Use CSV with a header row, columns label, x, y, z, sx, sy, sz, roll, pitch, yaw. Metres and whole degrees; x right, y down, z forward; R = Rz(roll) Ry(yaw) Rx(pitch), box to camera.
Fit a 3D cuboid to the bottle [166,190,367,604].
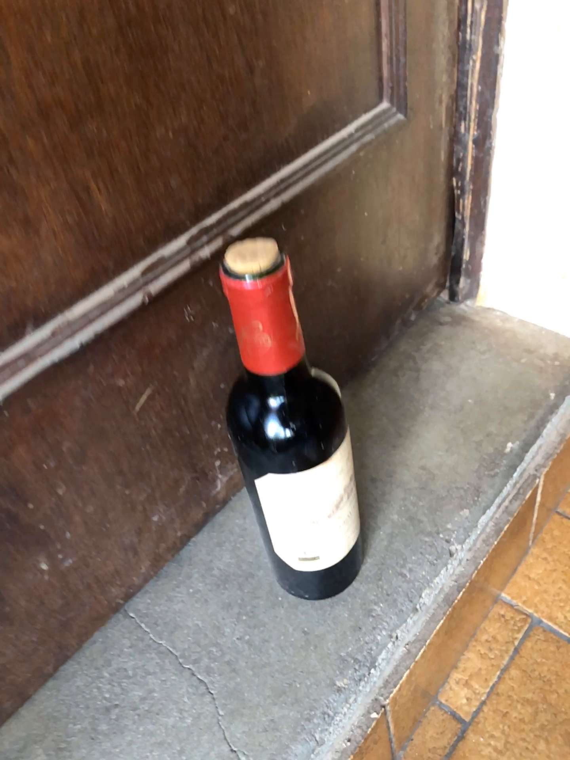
label,x,y,z,sx,sy,sz,roll,pitch,yaw
bottle,0.006,0.028,0.336,0.060,0.239,0.070,0,44,11
